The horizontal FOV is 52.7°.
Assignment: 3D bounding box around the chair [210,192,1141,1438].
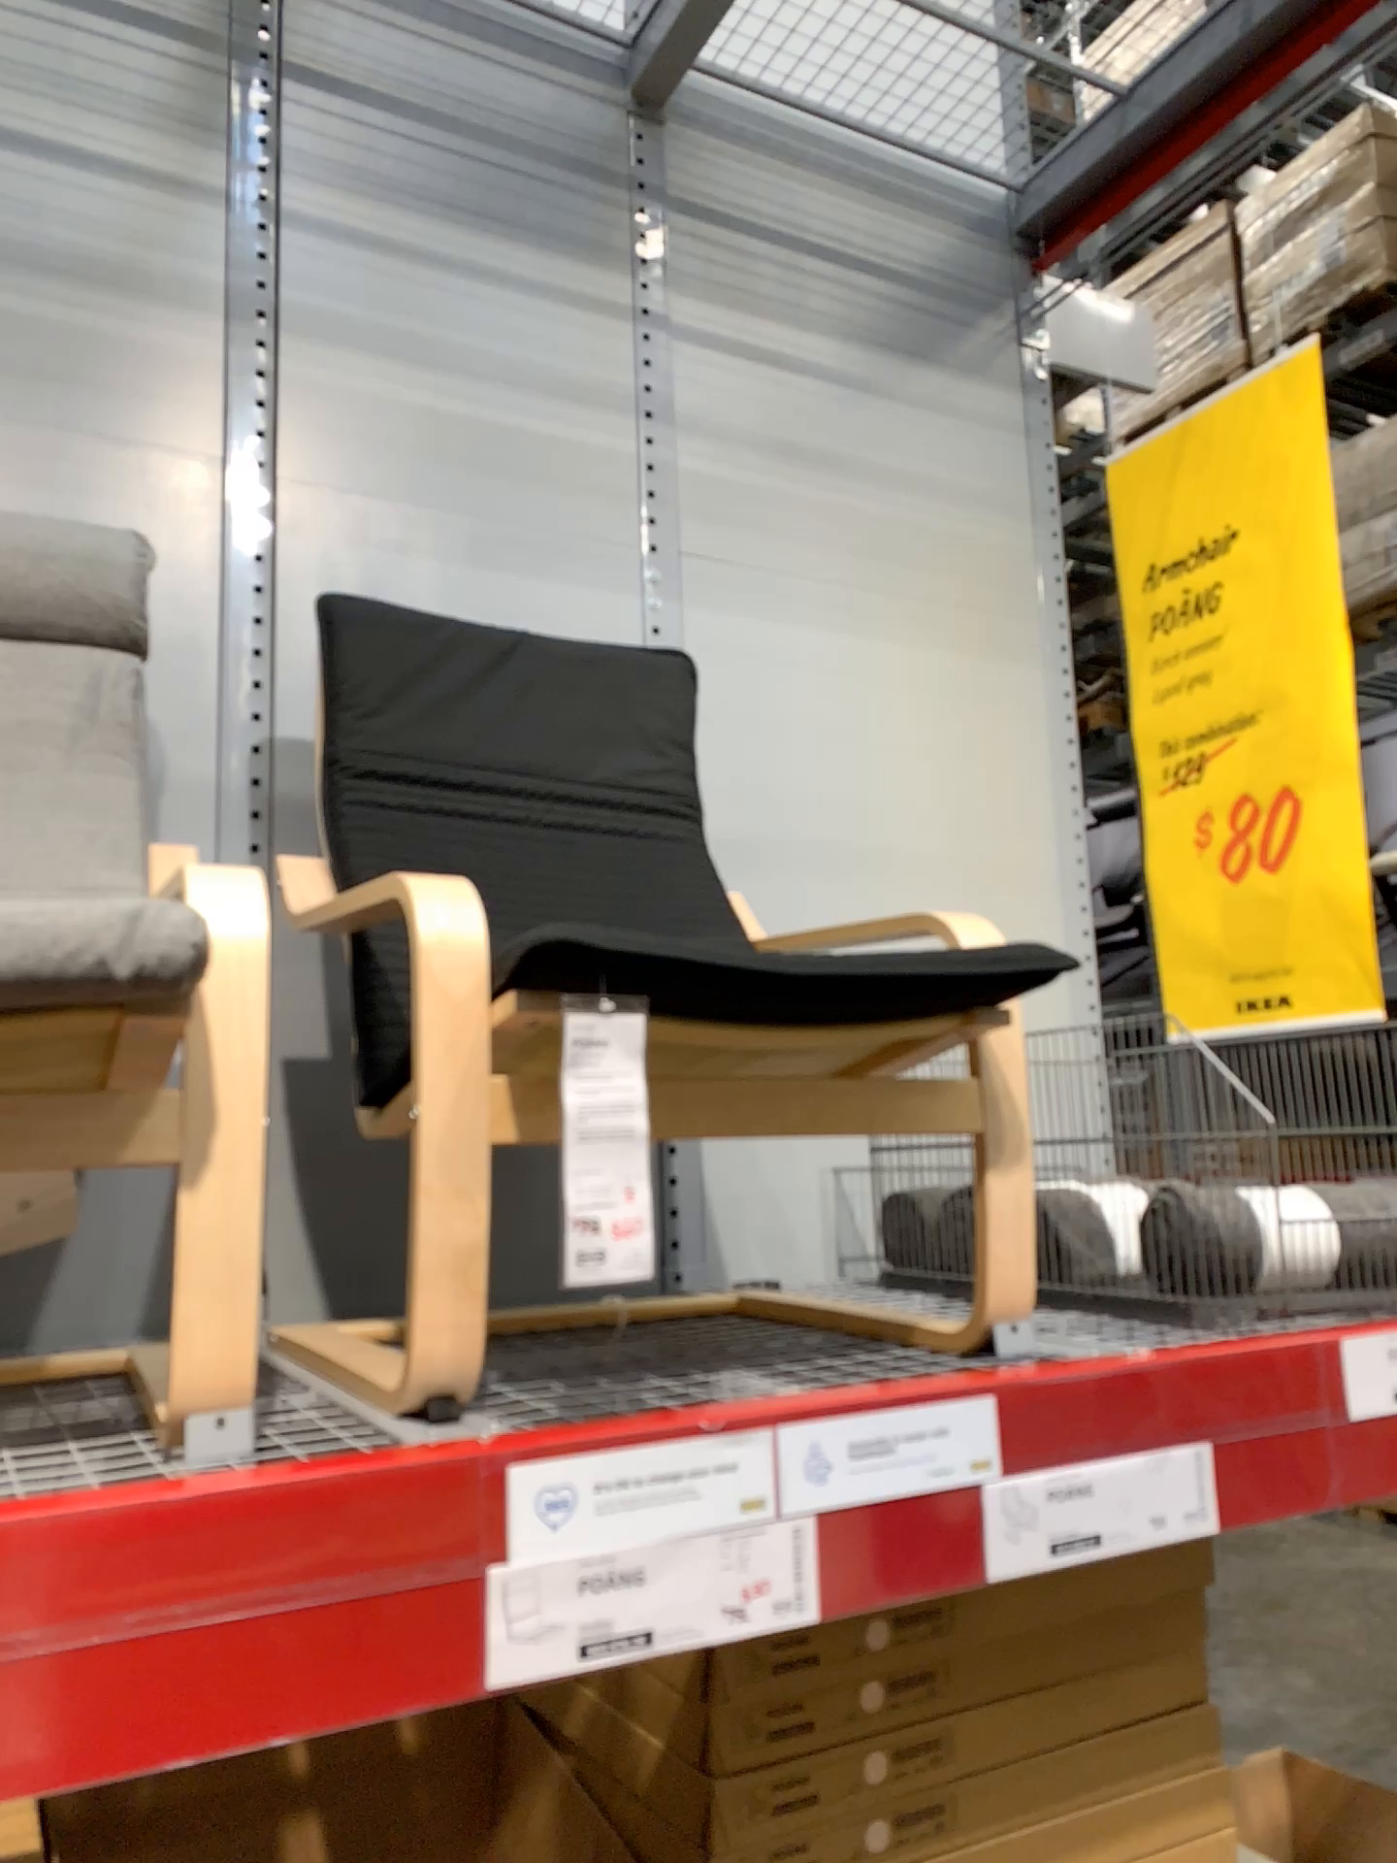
[{"bbox_3d":[-0.103,-0.051,1.650,0.719,1.012,0.839,3,-11,-29],"label":"chair"}]
